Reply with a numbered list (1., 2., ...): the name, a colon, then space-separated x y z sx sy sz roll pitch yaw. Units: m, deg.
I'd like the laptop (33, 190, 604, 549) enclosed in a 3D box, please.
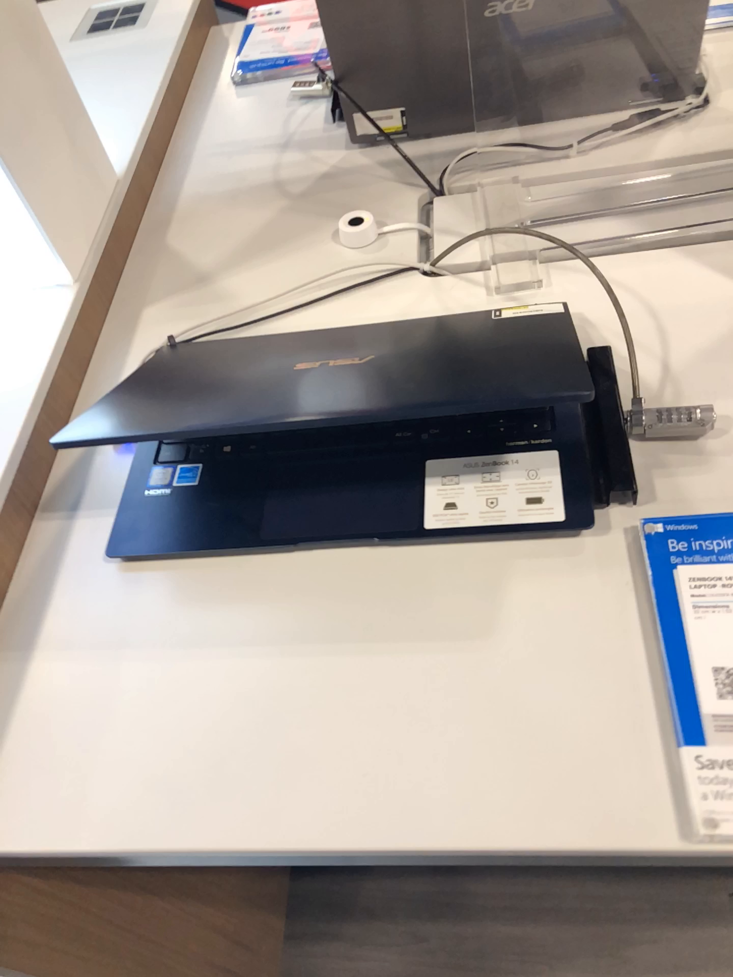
1. laptop: -0.019 -0.078 0.524 0.310 0.095 0.203 -4 51 10
